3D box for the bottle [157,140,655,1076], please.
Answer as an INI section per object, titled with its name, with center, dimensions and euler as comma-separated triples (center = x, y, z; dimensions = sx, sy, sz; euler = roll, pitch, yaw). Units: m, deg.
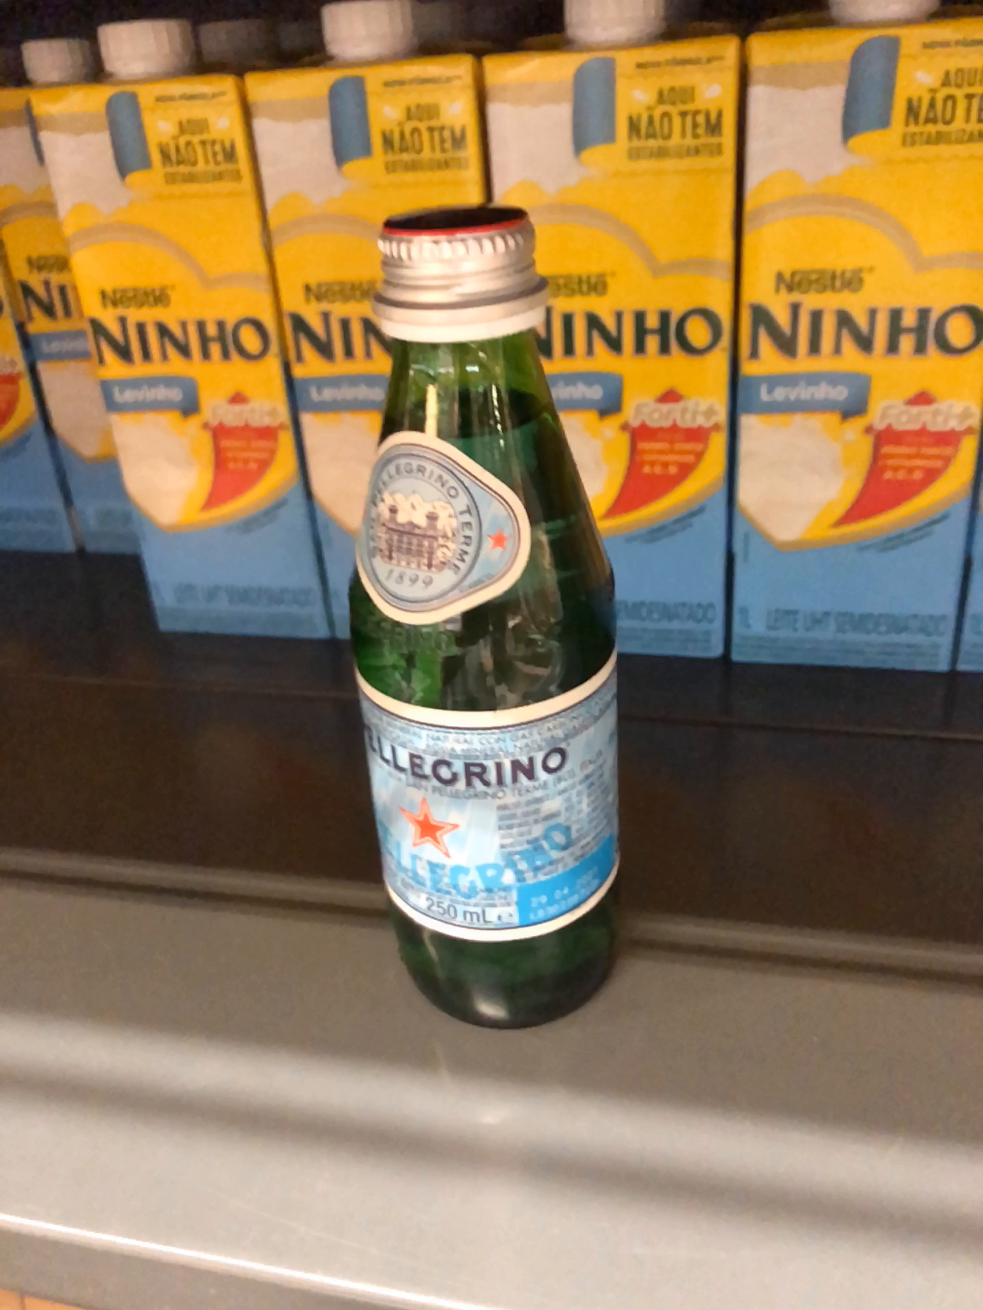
[bottle]
center = -0.006, -0.005, 0.230
dimensions = 0.060, 0.179, 0.060
euler = -4, 31, 2
